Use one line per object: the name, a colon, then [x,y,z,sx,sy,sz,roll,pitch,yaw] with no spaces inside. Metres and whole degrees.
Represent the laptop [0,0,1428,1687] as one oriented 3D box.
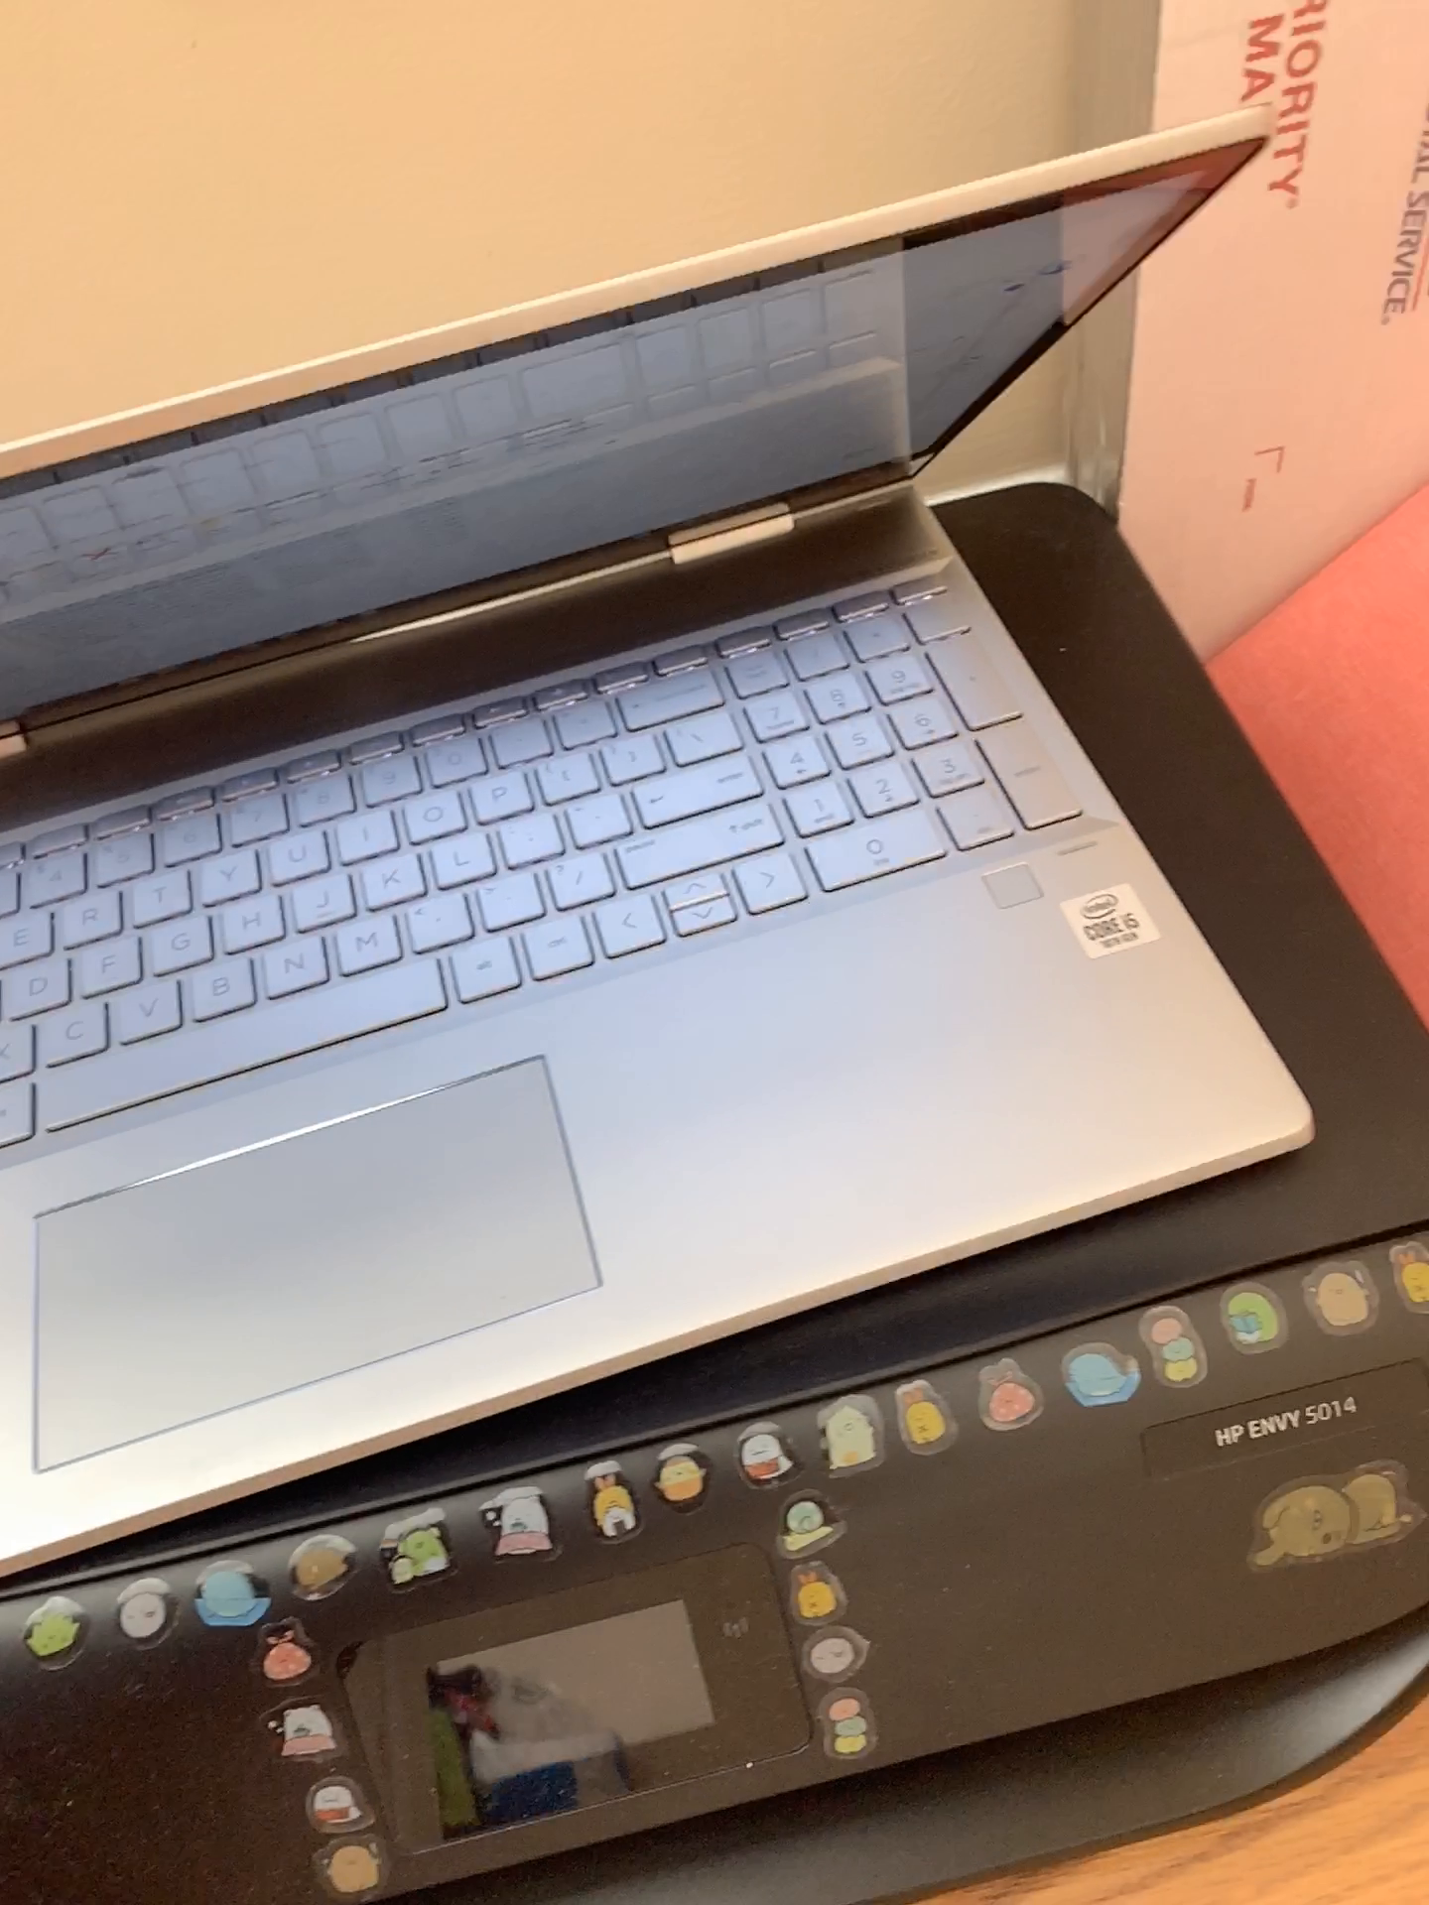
laptop: [-0.085,-0.052,0.295,0.350,0.169,0.237,-17,52,-4]
